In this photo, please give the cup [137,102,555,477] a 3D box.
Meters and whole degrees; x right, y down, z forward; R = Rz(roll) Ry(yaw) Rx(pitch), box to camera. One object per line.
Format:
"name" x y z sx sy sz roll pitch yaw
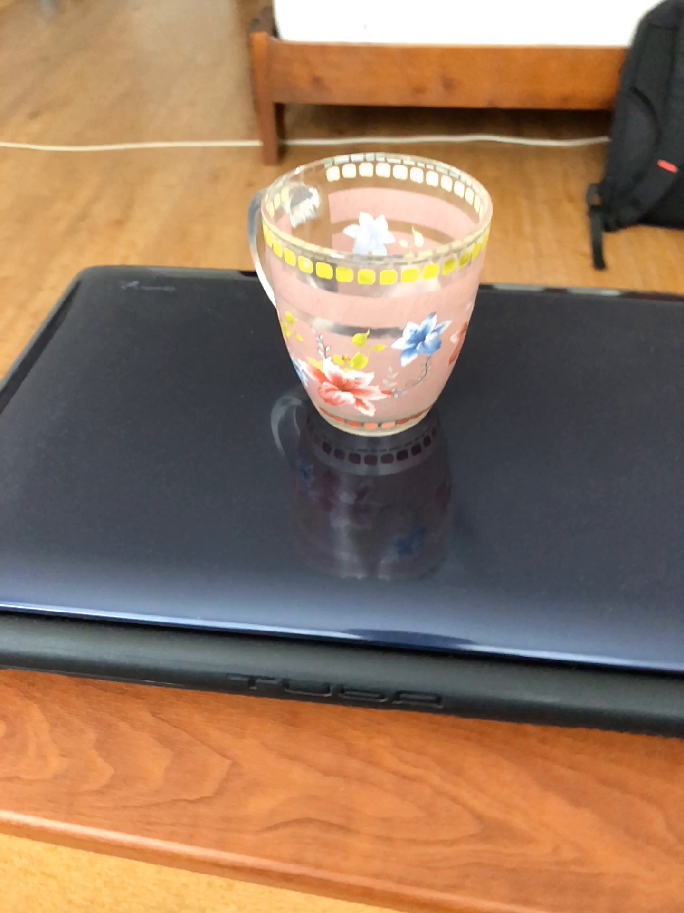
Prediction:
"cup" 0.000 -0.077 0.316 0.130 0.081 0.095 34 55 31
